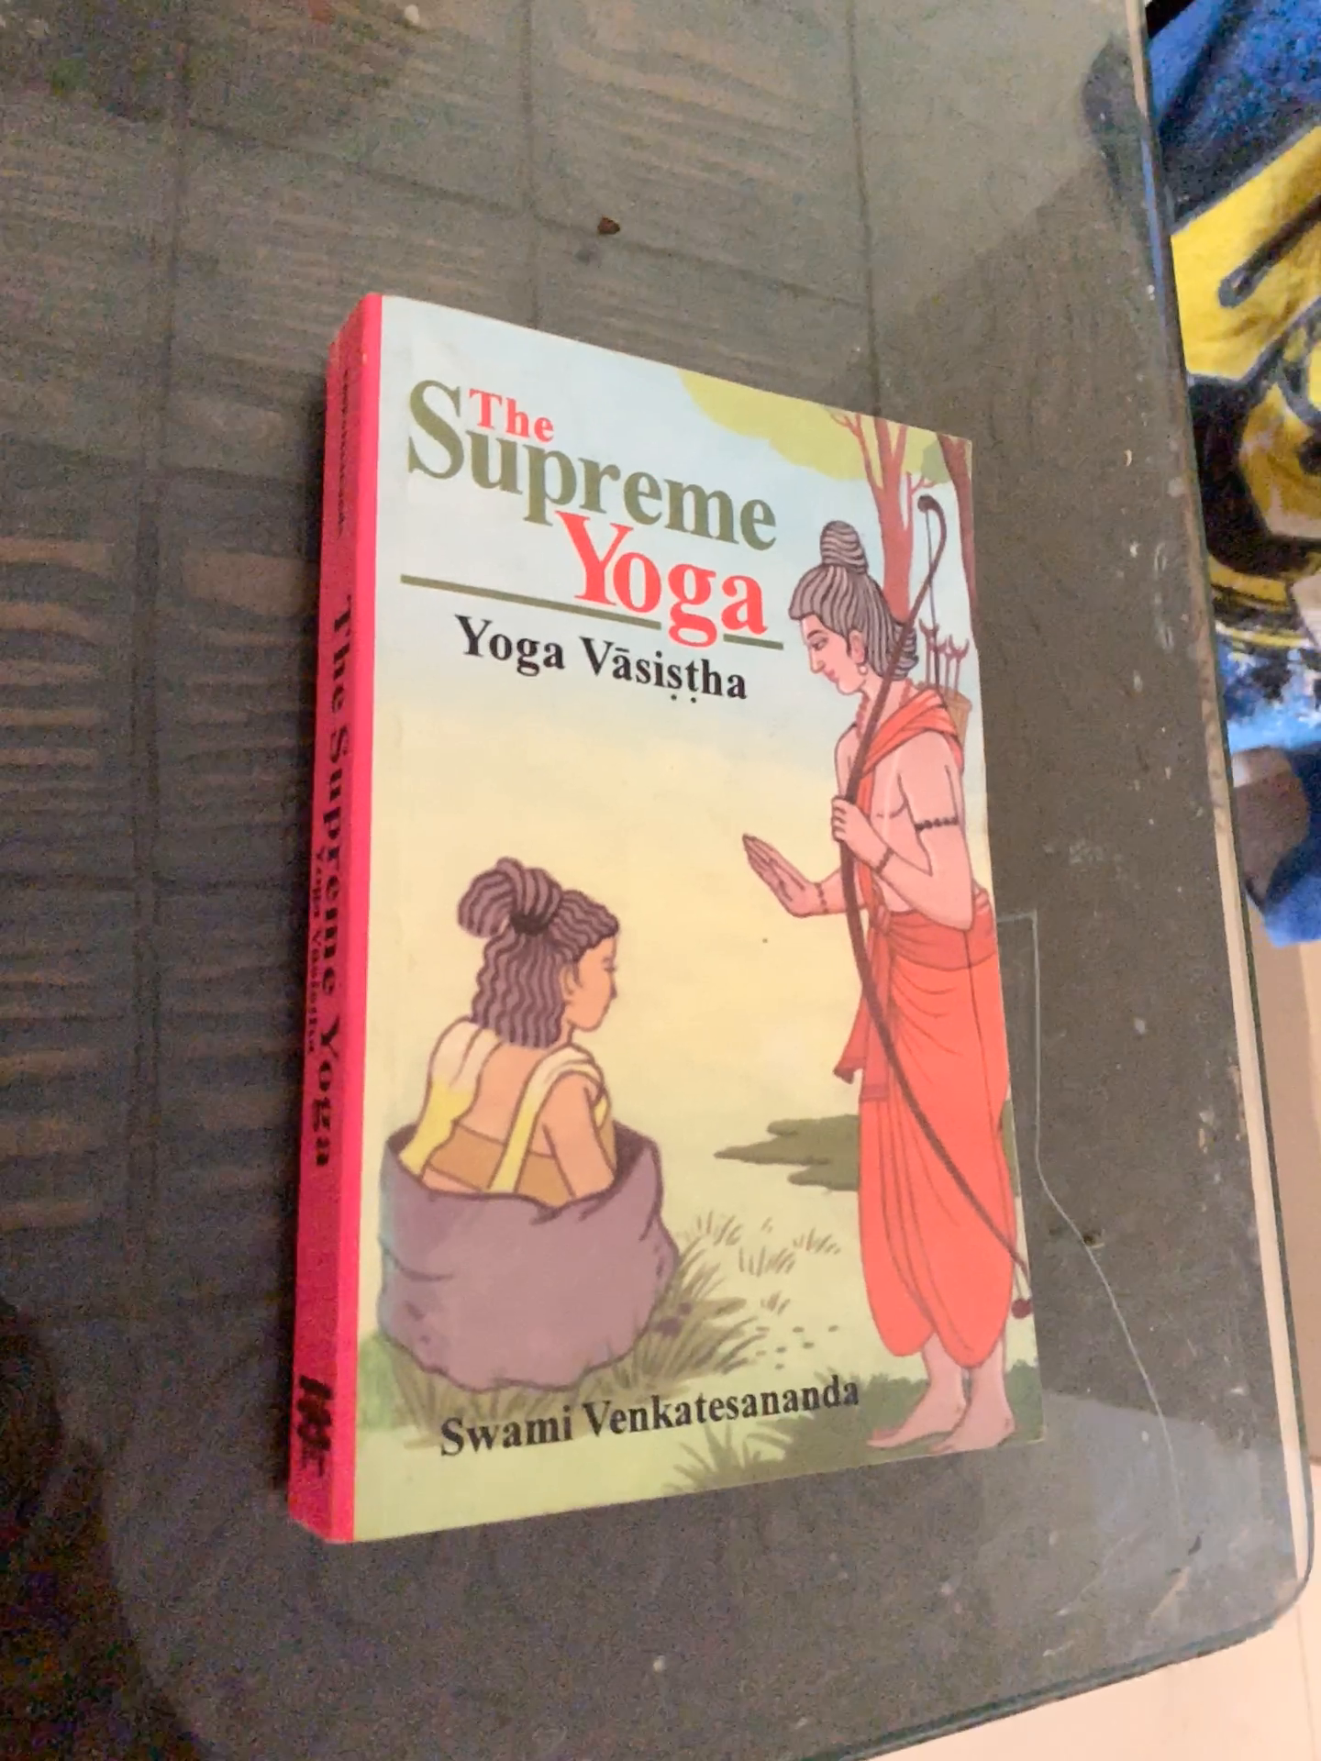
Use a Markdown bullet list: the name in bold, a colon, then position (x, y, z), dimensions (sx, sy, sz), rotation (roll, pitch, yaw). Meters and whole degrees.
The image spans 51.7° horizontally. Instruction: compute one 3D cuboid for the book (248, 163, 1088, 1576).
- **book**: position (0.005, -0.005, 0.244), dimensions (0.140, 0.030, 0.210), rotation (4, 79, -26)
